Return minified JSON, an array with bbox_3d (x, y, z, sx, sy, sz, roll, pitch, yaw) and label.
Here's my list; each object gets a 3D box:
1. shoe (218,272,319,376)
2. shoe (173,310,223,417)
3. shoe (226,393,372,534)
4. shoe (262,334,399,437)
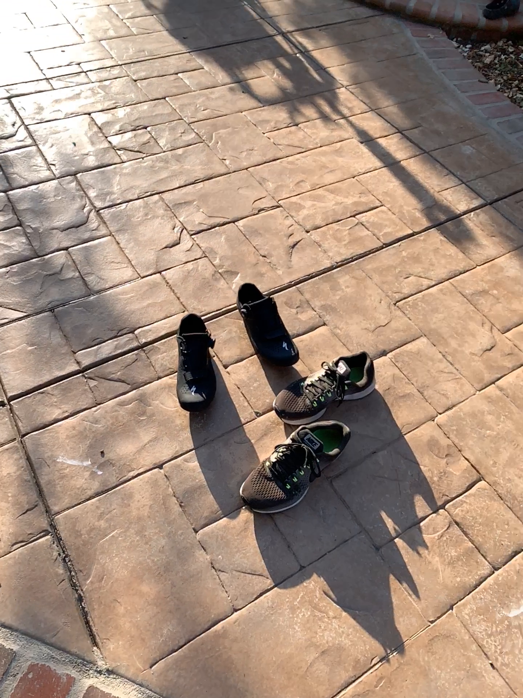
[{"bbox_3d":[0.011,-0.071,1.369,0.130,0.050,0.281,-21,57,-22],"label":"shoe"},{"bbox_3d":[-0.153,0.029,1.287,0.110,0.050,0.281,0,52,-7],"label":"shoe"},{"bbox_3d":[0.080,0.241,1.163,0.290,0.109,0.130,-31,61,-28],"label":"shoe"},{"bbox_3d":[0.164,0.082,1.285,0.290,0.090,0.131,-19,57,-21],"label":"shoe"}]
